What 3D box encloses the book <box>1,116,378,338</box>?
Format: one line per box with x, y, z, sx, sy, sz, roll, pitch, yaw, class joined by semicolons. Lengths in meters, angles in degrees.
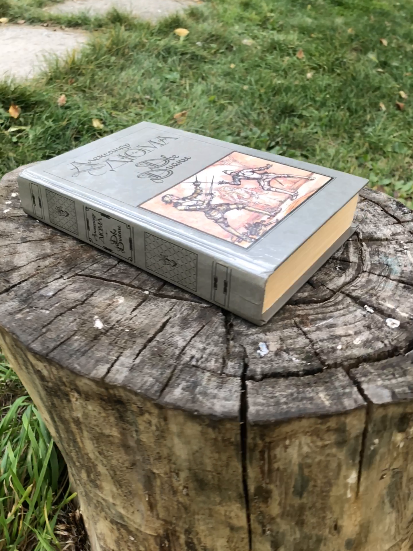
-0.013;-0.053;0.310;0.204;0.030;0.140;24;44;29;book
